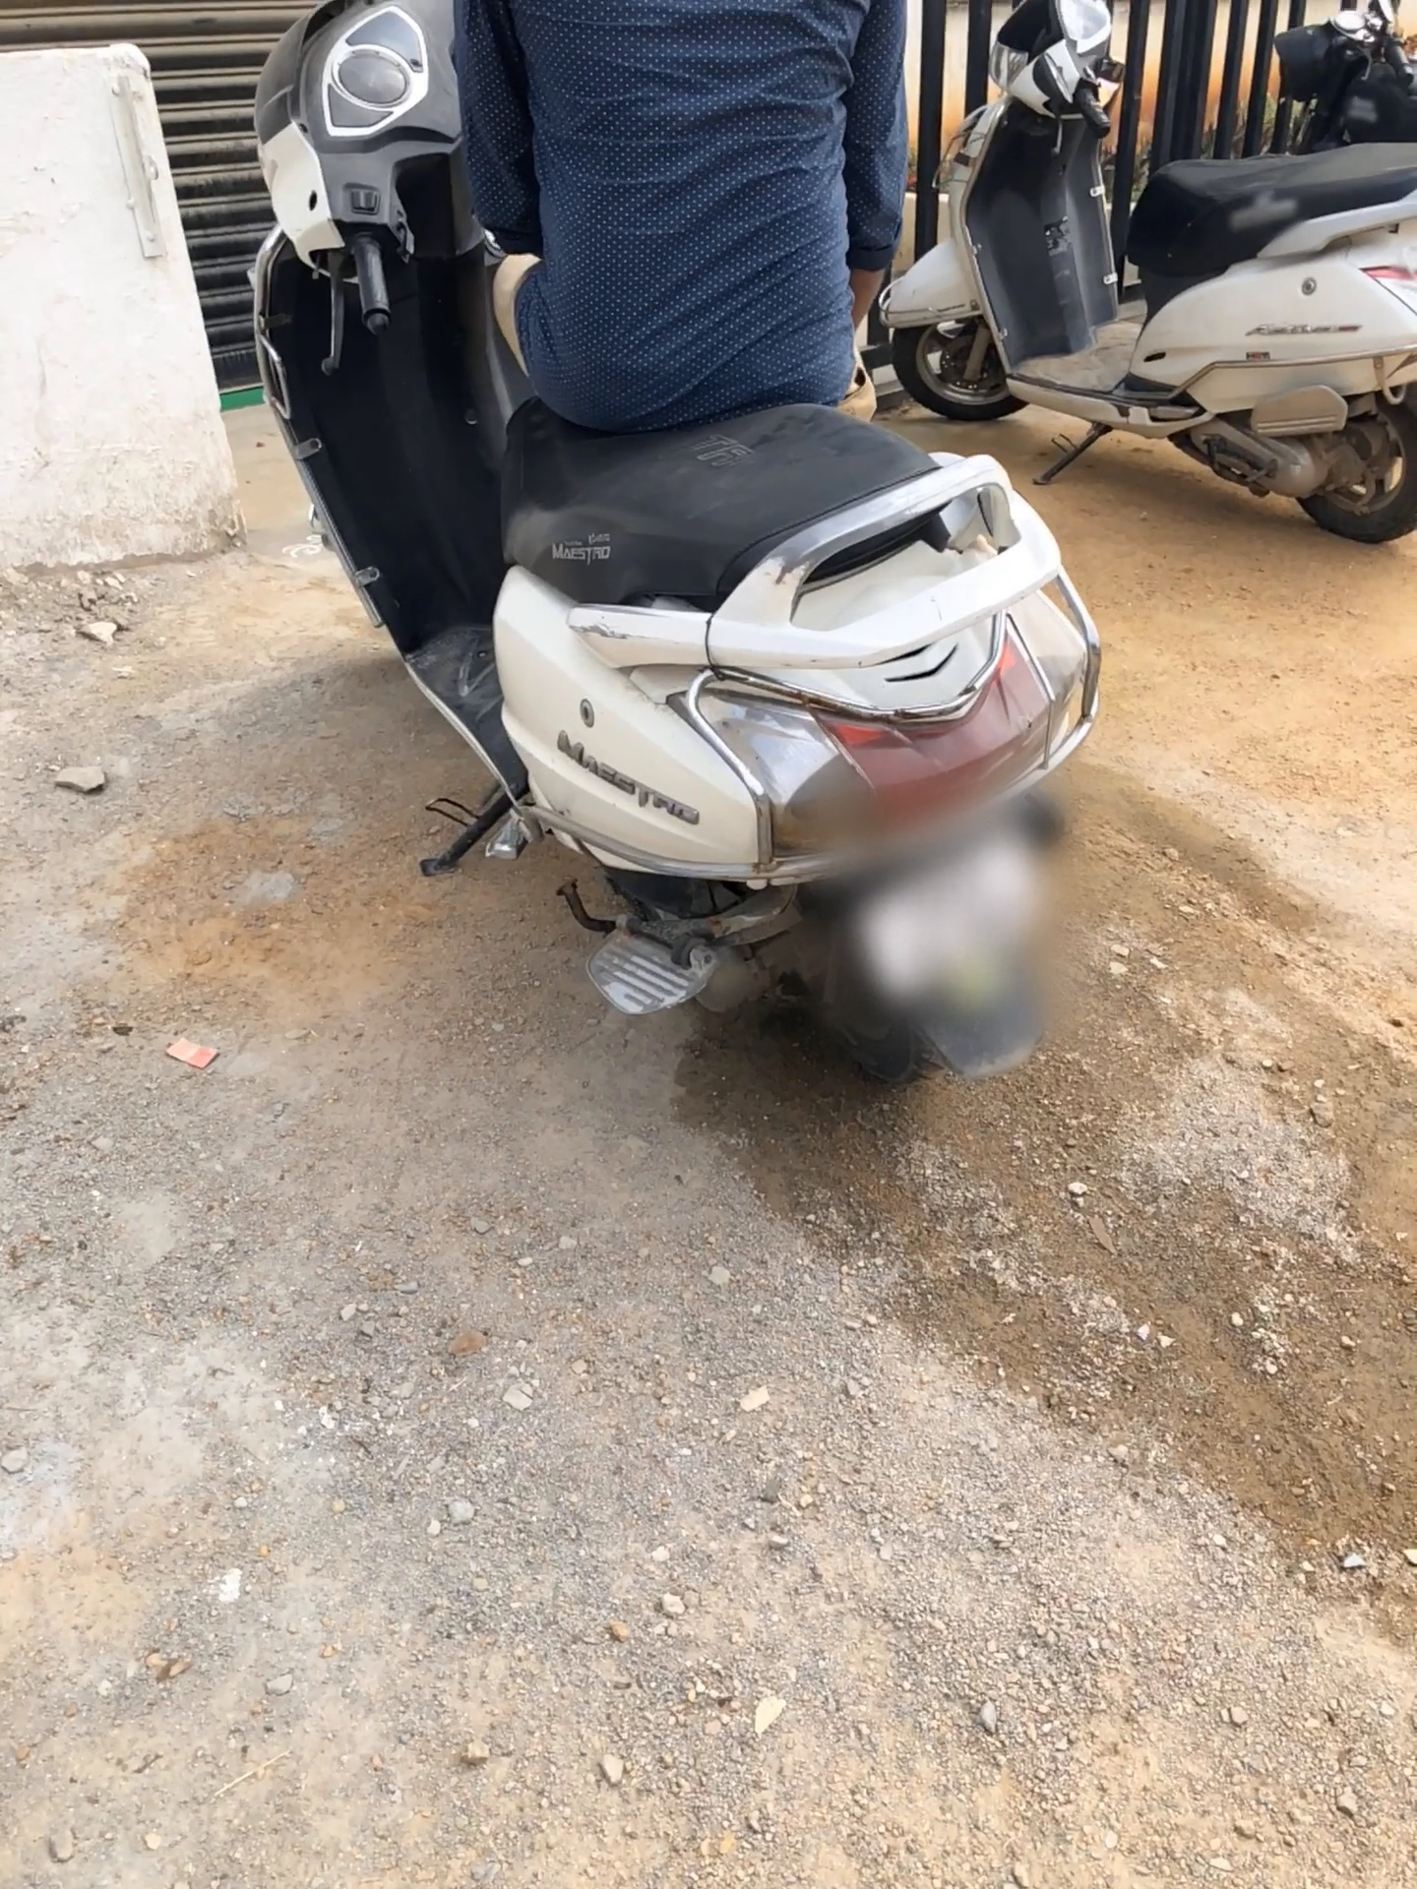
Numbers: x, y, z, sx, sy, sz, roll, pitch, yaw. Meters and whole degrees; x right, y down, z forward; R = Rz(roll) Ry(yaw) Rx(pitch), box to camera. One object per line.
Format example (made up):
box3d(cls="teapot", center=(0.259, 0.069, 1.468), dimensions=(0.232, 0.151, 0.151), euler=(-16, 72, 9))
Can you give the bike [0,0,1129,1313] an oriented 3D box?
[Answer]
box3d(cls="bike", center=(-0.341, -0.634, 1.967), dimensions=(0.602, 1.231, 1.558), euler=(-21, 41, -29))
